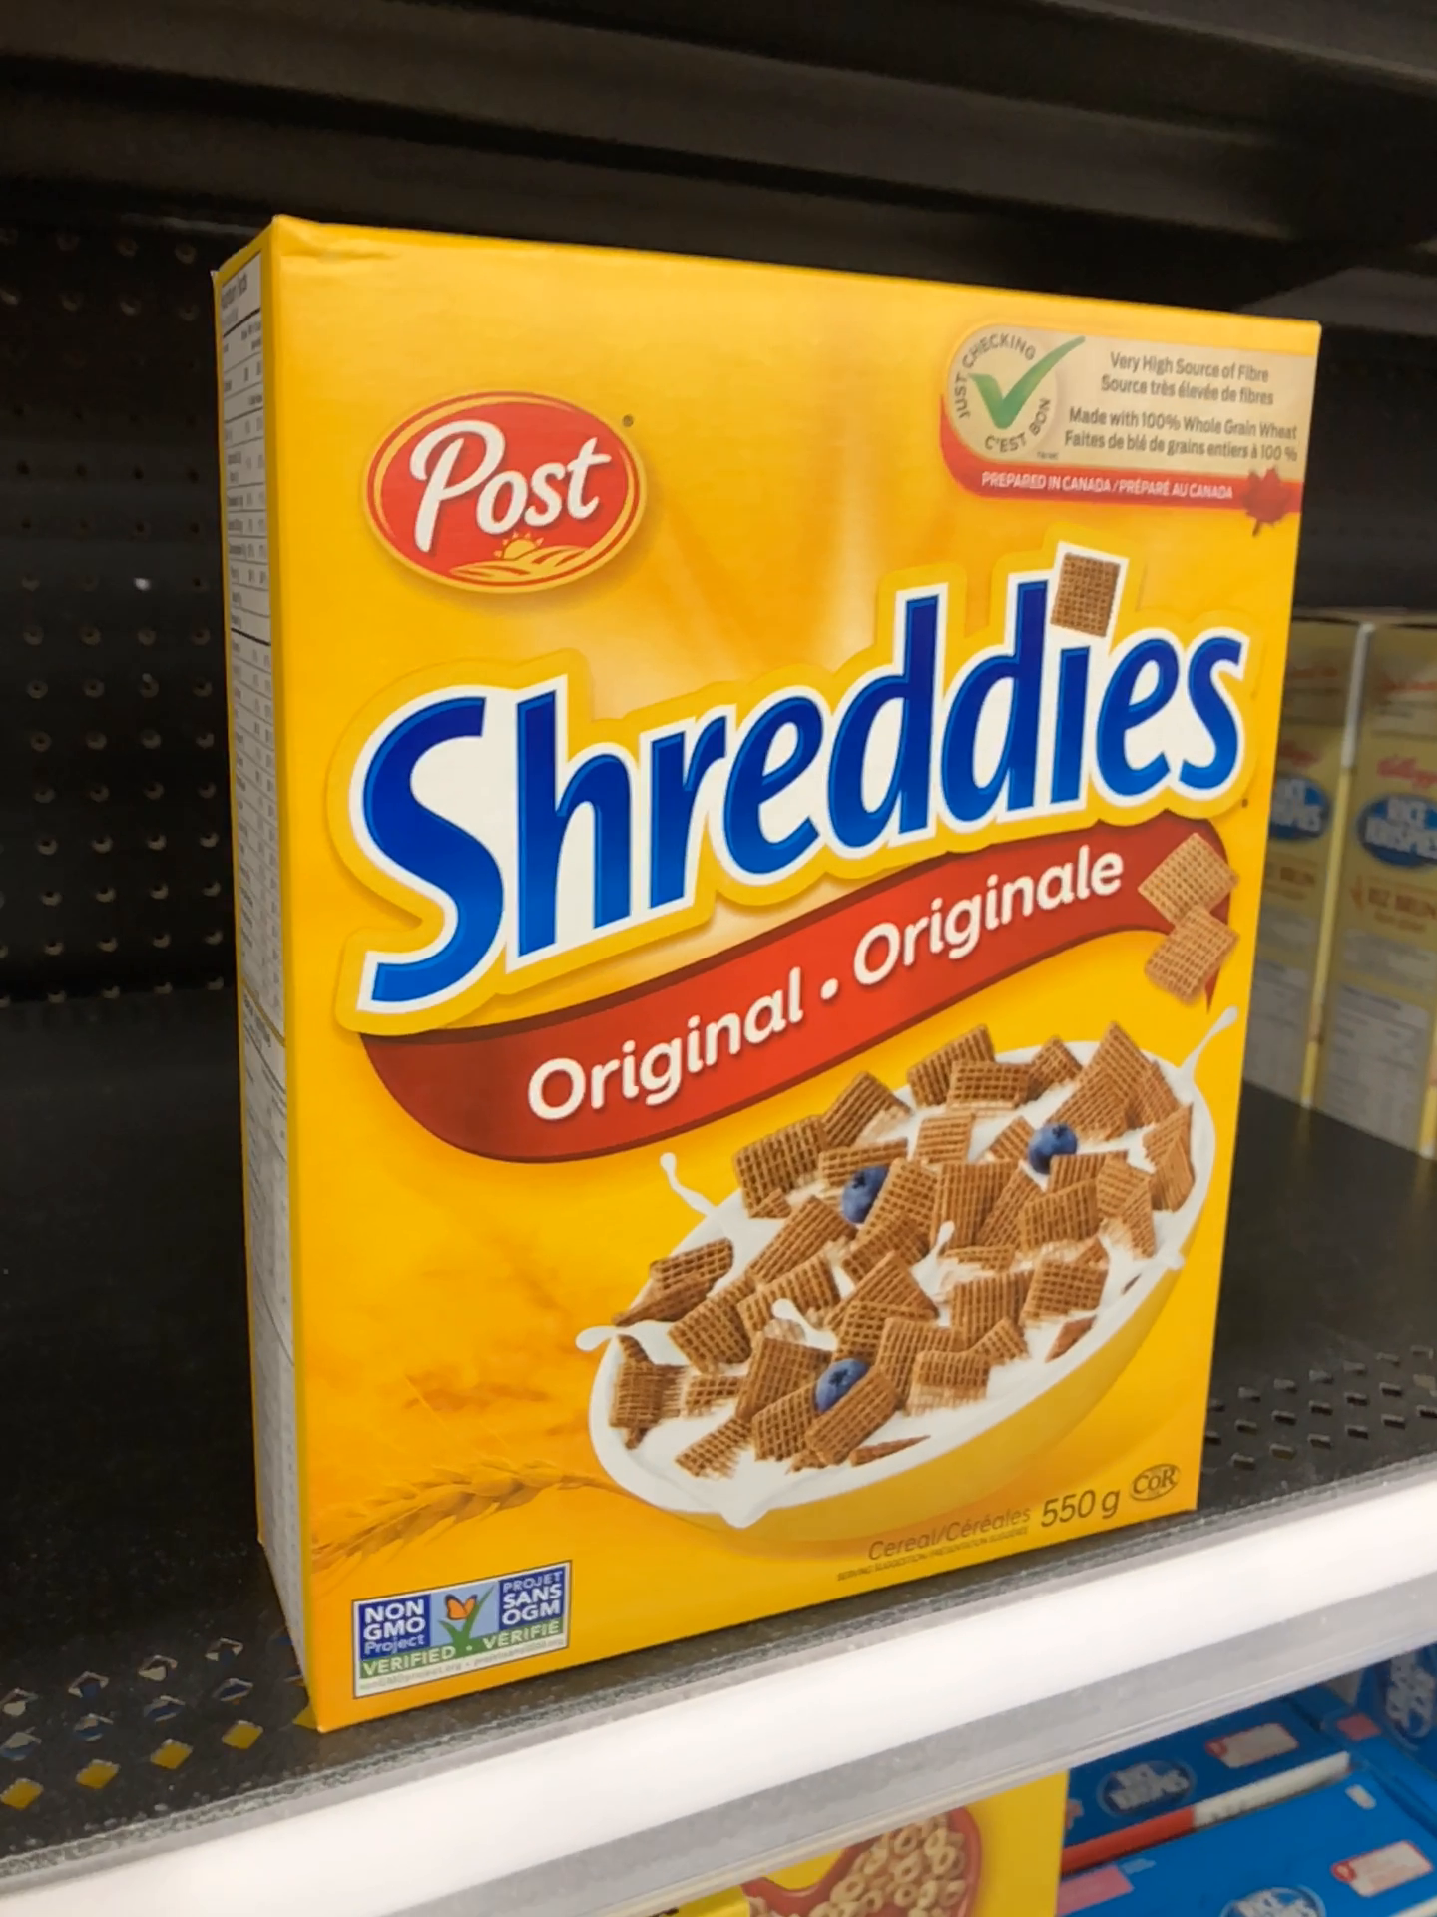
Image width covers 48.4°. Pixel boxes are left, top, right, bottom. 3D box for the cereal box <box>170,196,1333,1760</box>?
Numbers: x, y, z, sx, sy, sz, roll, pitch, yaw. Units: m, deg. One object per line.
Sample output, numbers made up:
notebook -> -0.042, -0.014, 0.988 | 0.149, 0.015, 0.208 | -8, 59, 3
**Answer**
cereal box -> 0.007, 0.001, 0.331 | 0.210, 0.259, 0.070 | -5, 15, -24
